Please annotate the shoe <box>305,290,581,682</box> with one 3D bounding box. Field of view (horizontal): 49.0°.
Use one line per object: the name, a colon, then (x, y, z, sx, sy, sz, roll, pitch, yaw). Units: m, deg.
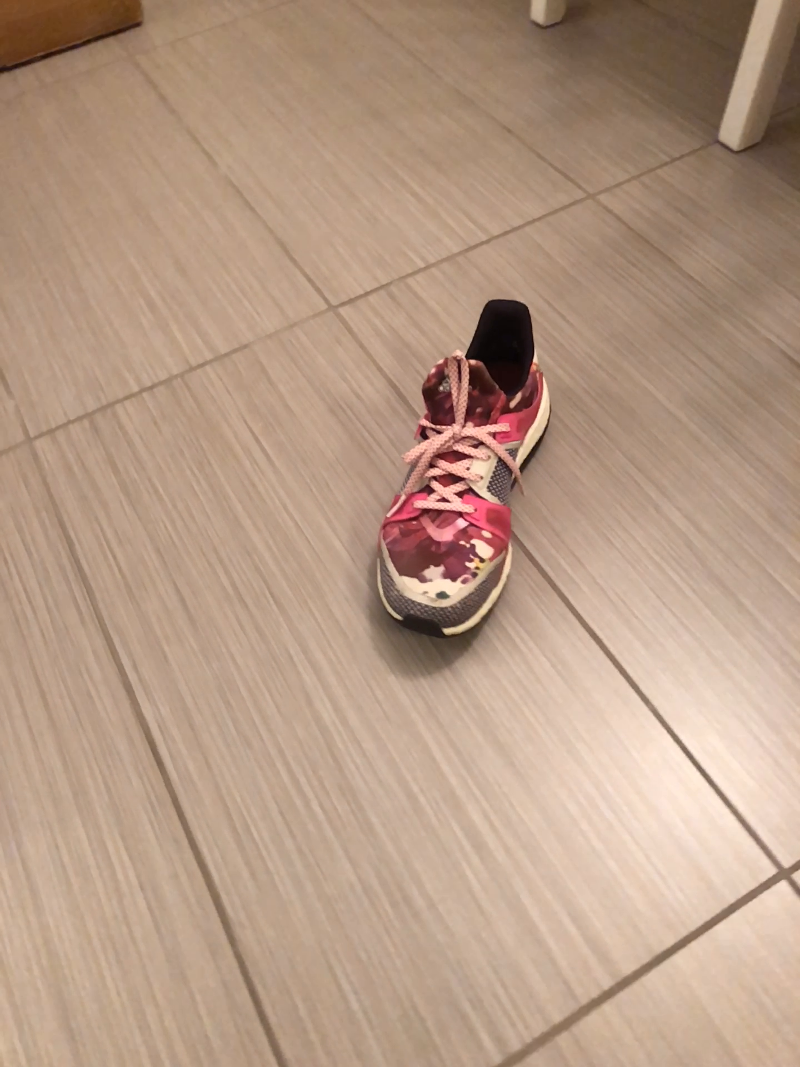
shoe: (0.043, -0.047, 0.650, 0.110, 0.090, 0.281, 14, 57, 16)
